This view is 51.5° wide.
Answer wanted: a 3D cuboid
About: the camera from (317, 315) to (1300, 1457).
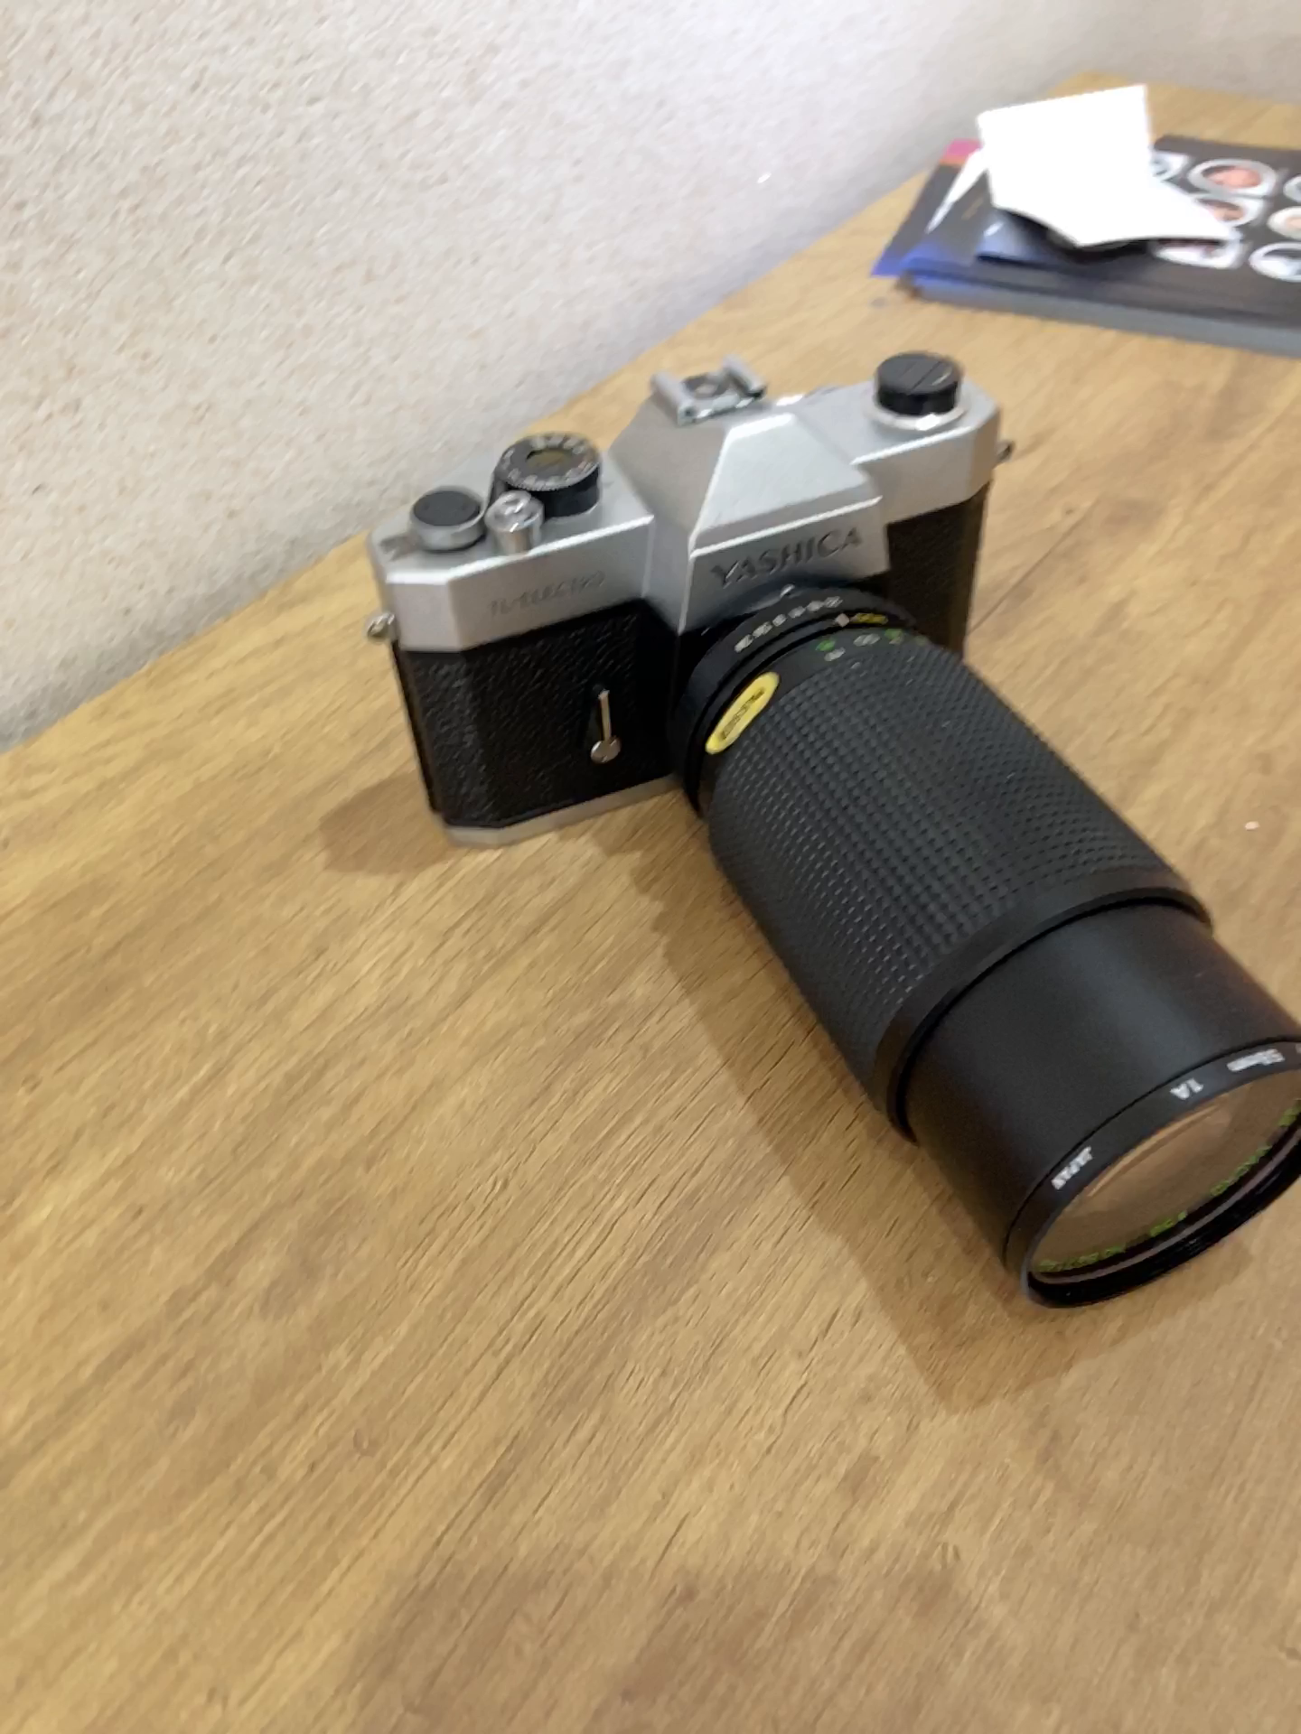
[{"bbox_3d":[0.031,-0.018,0.273,0.150,0.080,0.201,-16,47,-10],"label":"camera"}]
